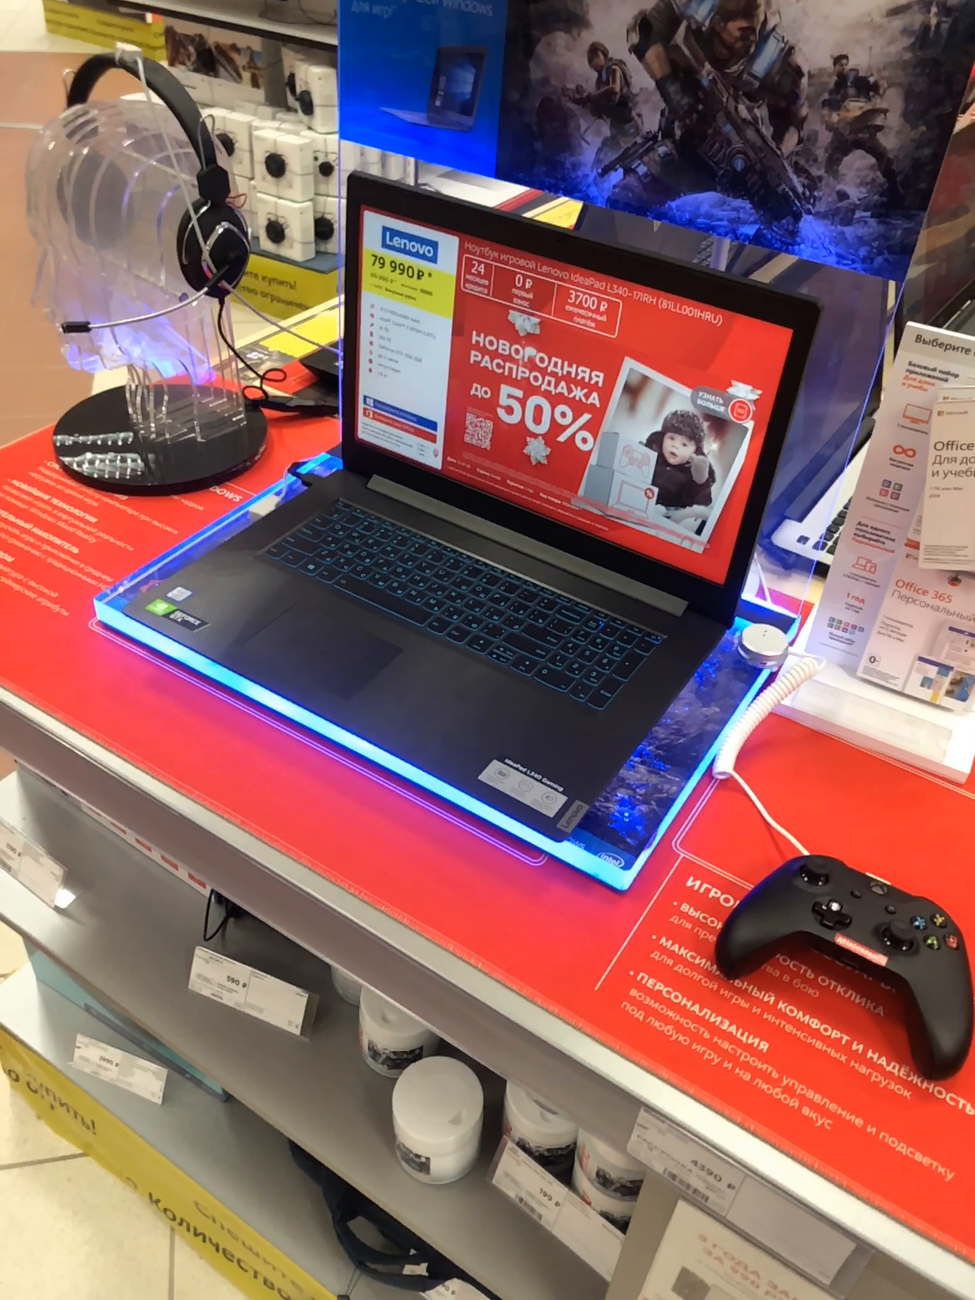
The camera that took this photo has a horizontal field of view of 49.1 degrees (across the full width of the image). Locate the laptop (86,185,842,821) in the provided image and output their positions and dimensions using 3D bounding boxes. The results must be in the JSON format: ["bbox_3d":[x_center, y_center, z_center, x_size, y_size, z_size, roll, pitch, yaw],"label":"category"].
[{"bbox_3d":[-0.023,-0.139,0.799,0.404,0.255,0.296,24,45,25],"label":"laptop"}]
